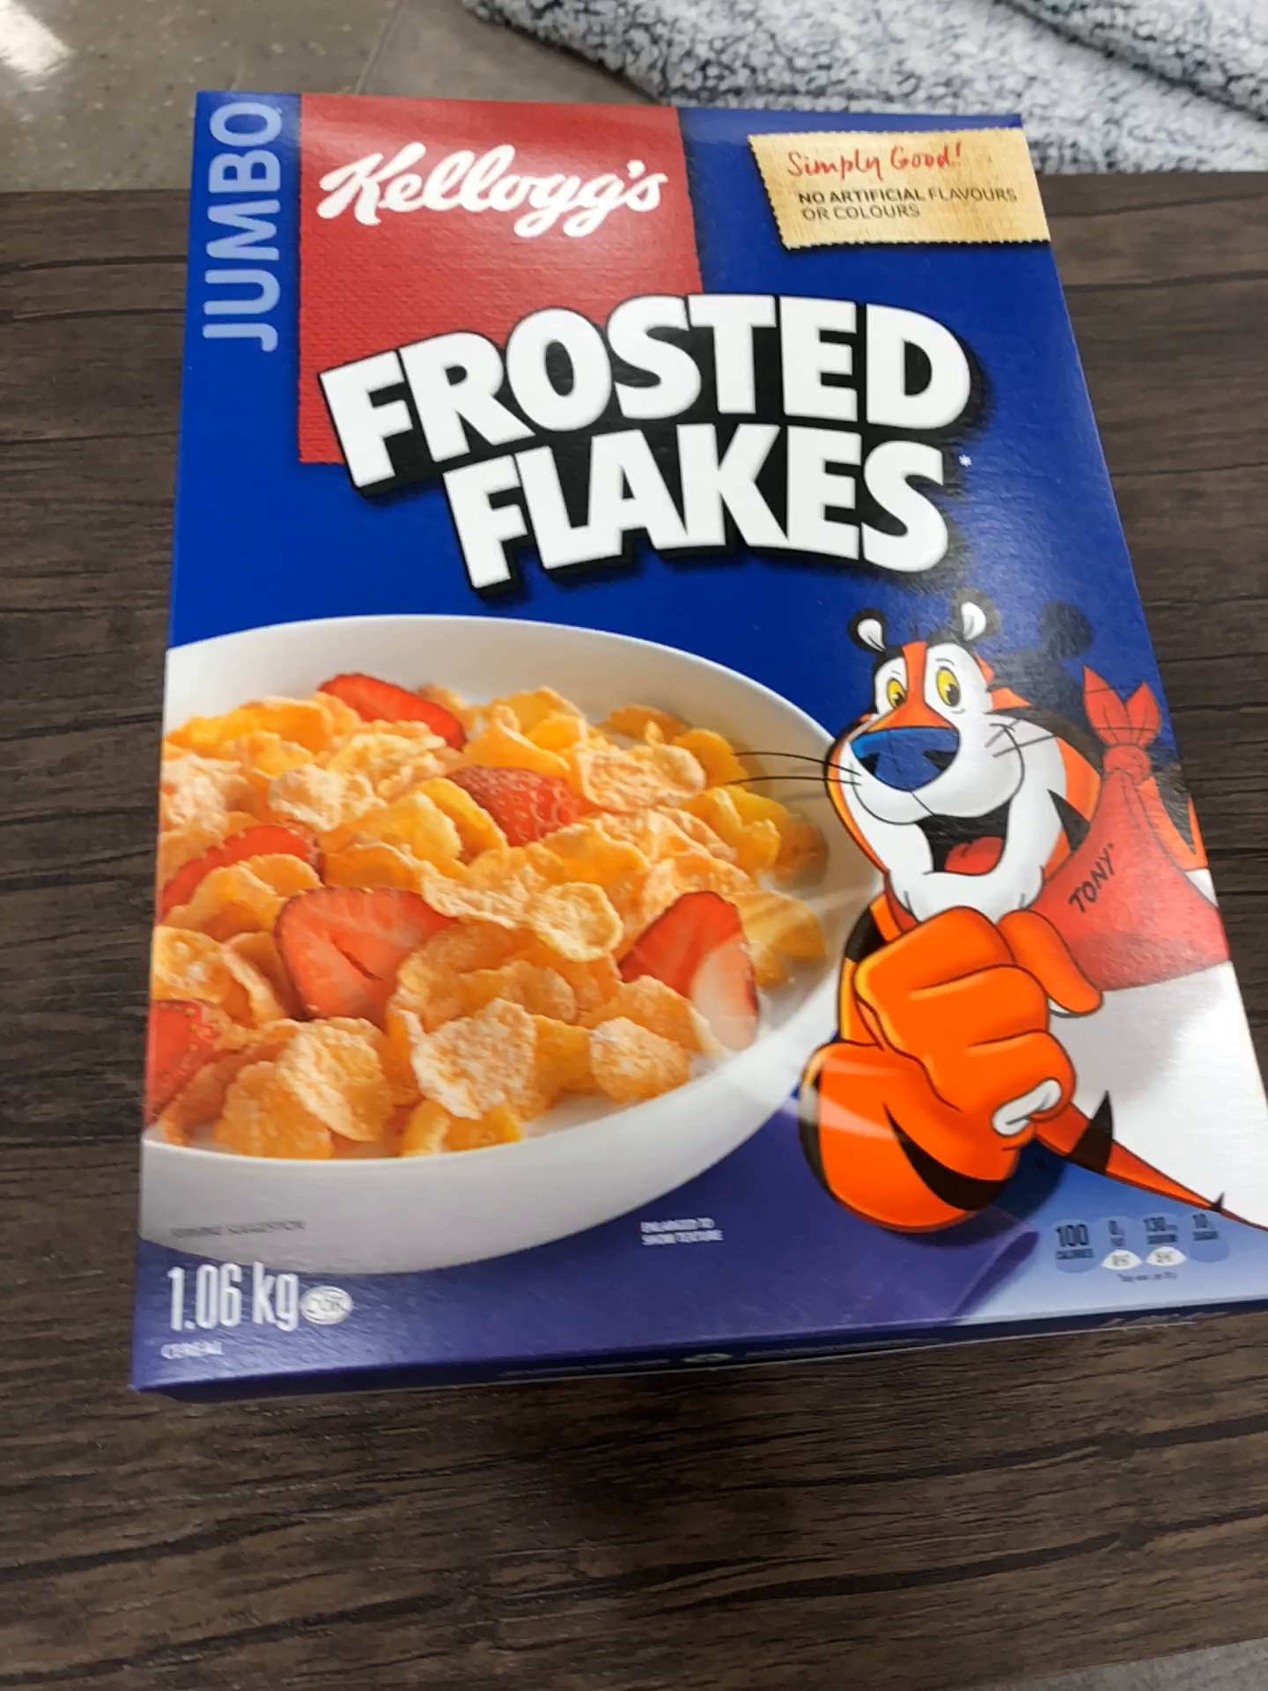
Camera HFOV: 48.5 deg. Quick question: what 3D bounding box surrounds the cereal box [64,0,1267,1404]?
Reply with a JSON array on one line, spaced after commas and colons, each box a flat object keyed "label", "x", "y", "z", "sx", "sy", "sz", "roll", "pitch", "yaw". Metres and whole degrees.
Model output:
[{"label": "cereal box", "x": 0.004, "y": -0.056, "z": 0.387, "sx": 0.250, "sy": 0.100, "sz": 0.370, "roll": -1, "pitch": 67, "yaw": -6}]
